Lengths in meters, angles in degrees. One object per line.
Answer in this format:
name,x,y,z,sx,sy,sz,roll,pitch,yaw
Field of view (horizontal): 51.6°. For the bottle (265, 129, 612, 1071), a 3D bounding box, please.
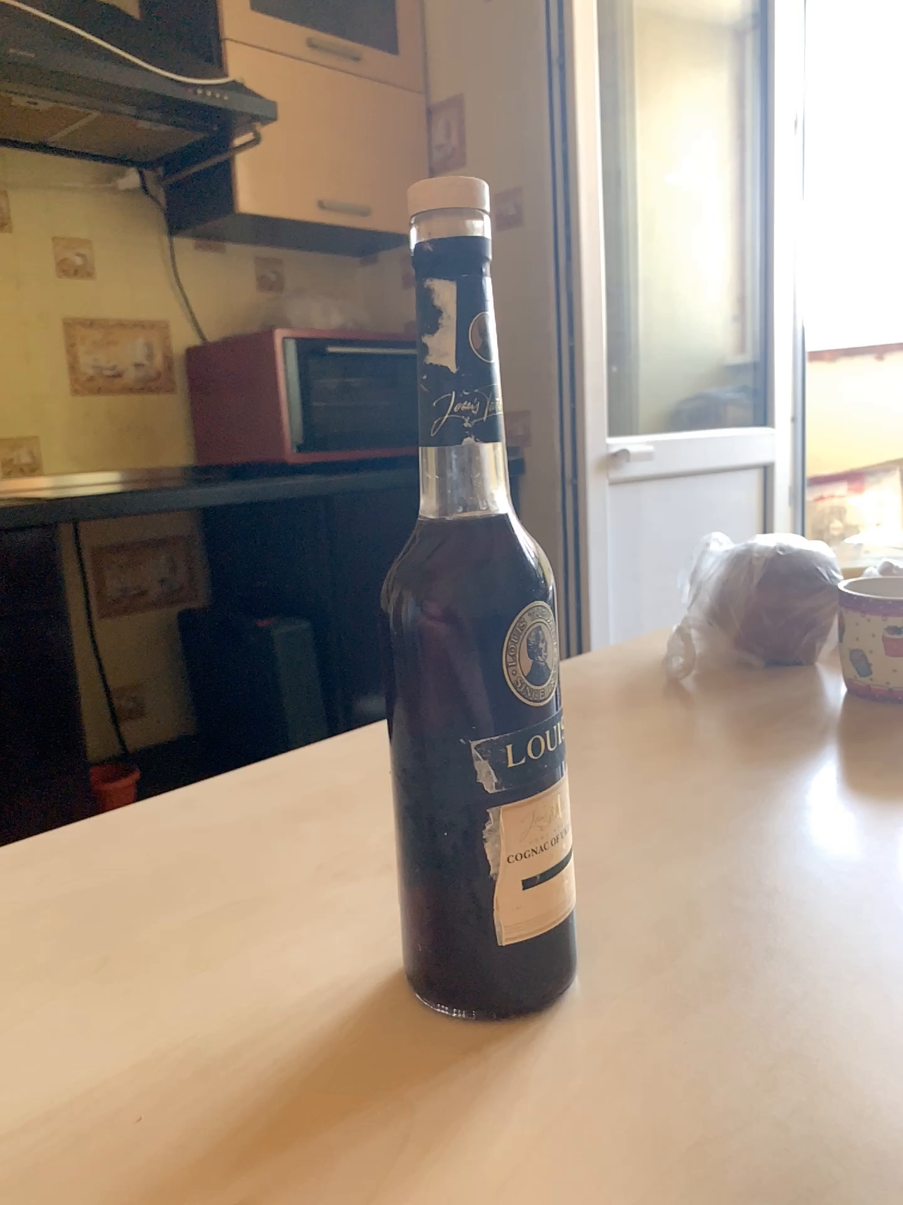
bottle,0.002,0.002,0.337,0.080,0.289,0.080,-3,9,0
